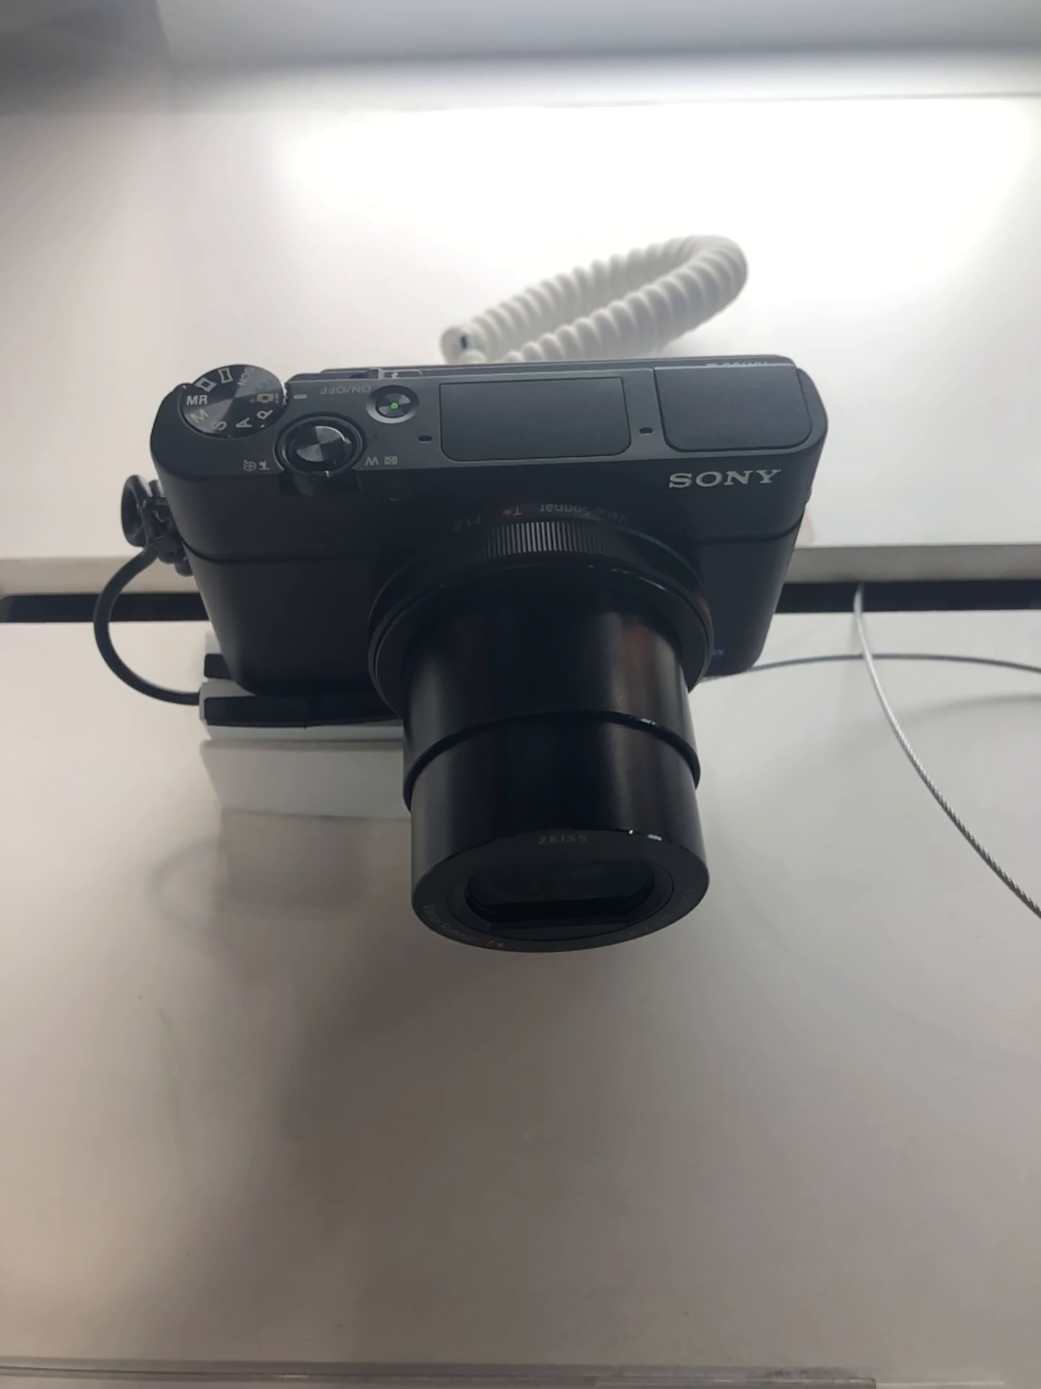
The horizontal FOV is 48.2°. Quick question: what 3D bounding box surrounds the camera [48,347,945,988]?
[{"bbox_3d":[-0.002,-0.002,0.186,0.105,0.074,0.070,-1,53,1],"label":"camera"}]
